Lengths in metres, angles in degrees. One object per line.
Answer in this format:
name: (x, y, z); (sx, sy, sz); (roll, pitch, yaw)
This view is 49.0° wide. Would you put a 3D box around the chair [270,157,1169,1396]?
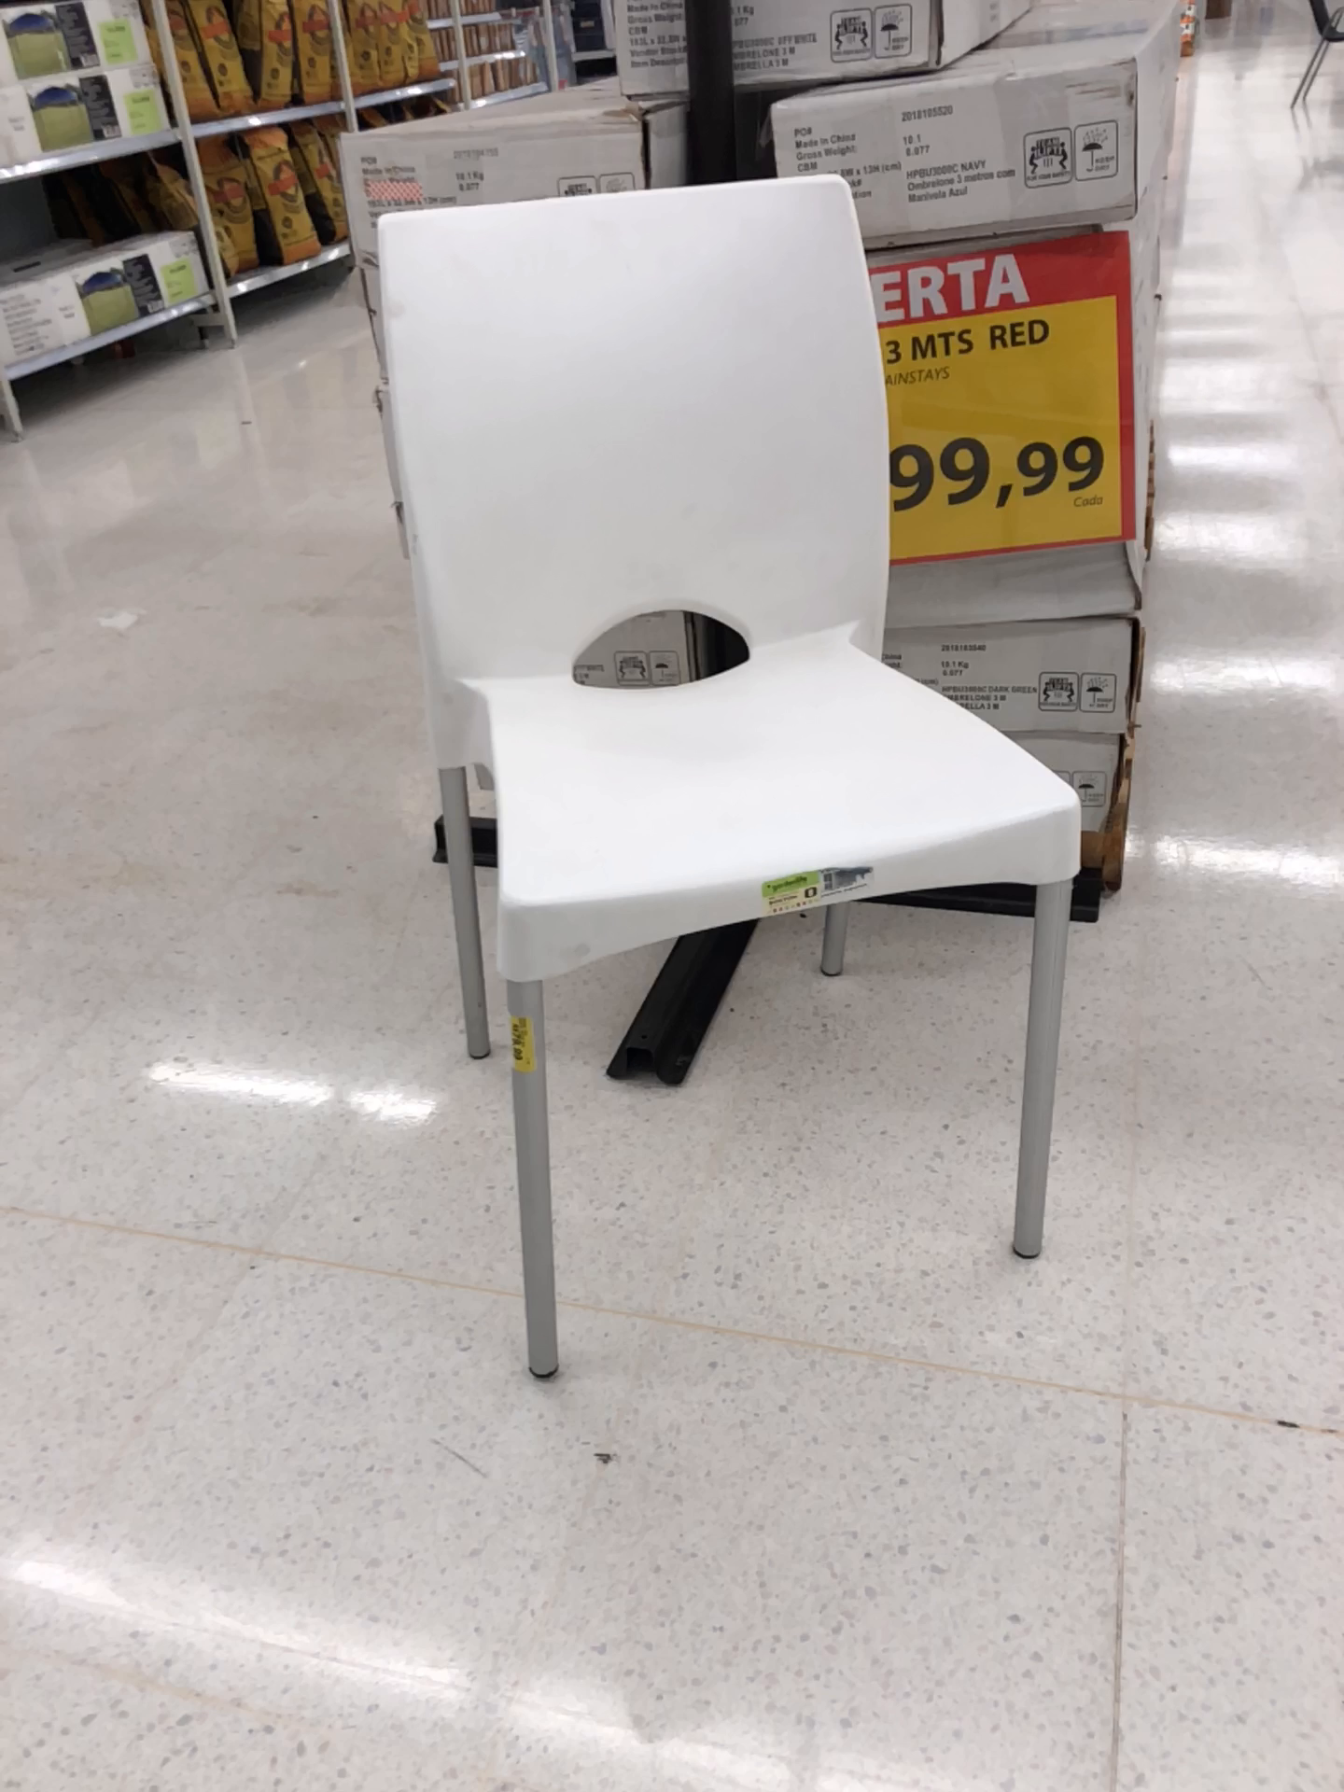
chair: (0.008, -0.131, 1.233); (0.500, 0.794, 0.564); (-10, 31, -9)
